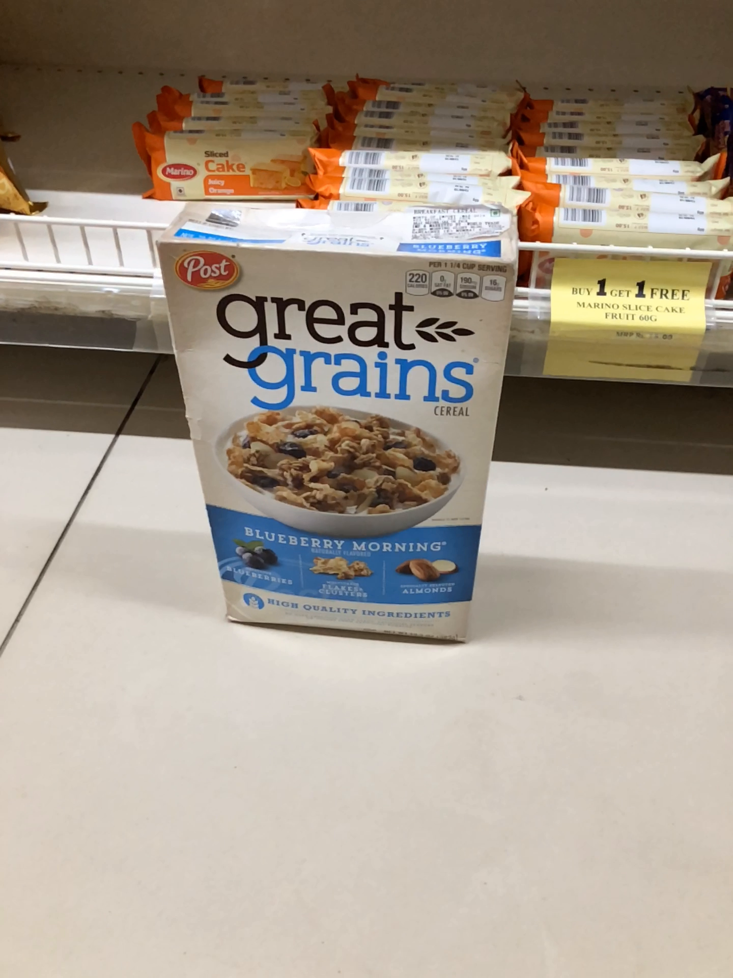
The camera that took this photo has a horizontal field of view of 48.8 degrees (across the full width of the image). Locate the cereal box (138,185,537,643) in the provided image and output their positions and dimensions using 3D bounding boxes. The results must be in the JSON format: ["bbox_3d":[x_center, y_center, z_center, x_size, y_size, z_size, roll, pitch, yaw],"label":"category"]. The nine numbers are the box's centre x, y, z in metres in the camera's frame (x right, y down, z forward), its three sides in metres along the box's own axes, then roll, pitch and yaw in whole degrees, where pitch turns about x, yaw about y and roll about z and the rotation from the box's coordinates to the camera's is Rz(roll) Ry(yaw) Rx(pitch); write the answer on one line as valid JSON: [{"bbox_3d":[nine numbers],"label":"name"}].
[{"bbox_3d":[-0.011,-0.025,0.450,0.170,0.258,0.060,4,42,4],"label":"cereal box"}]
